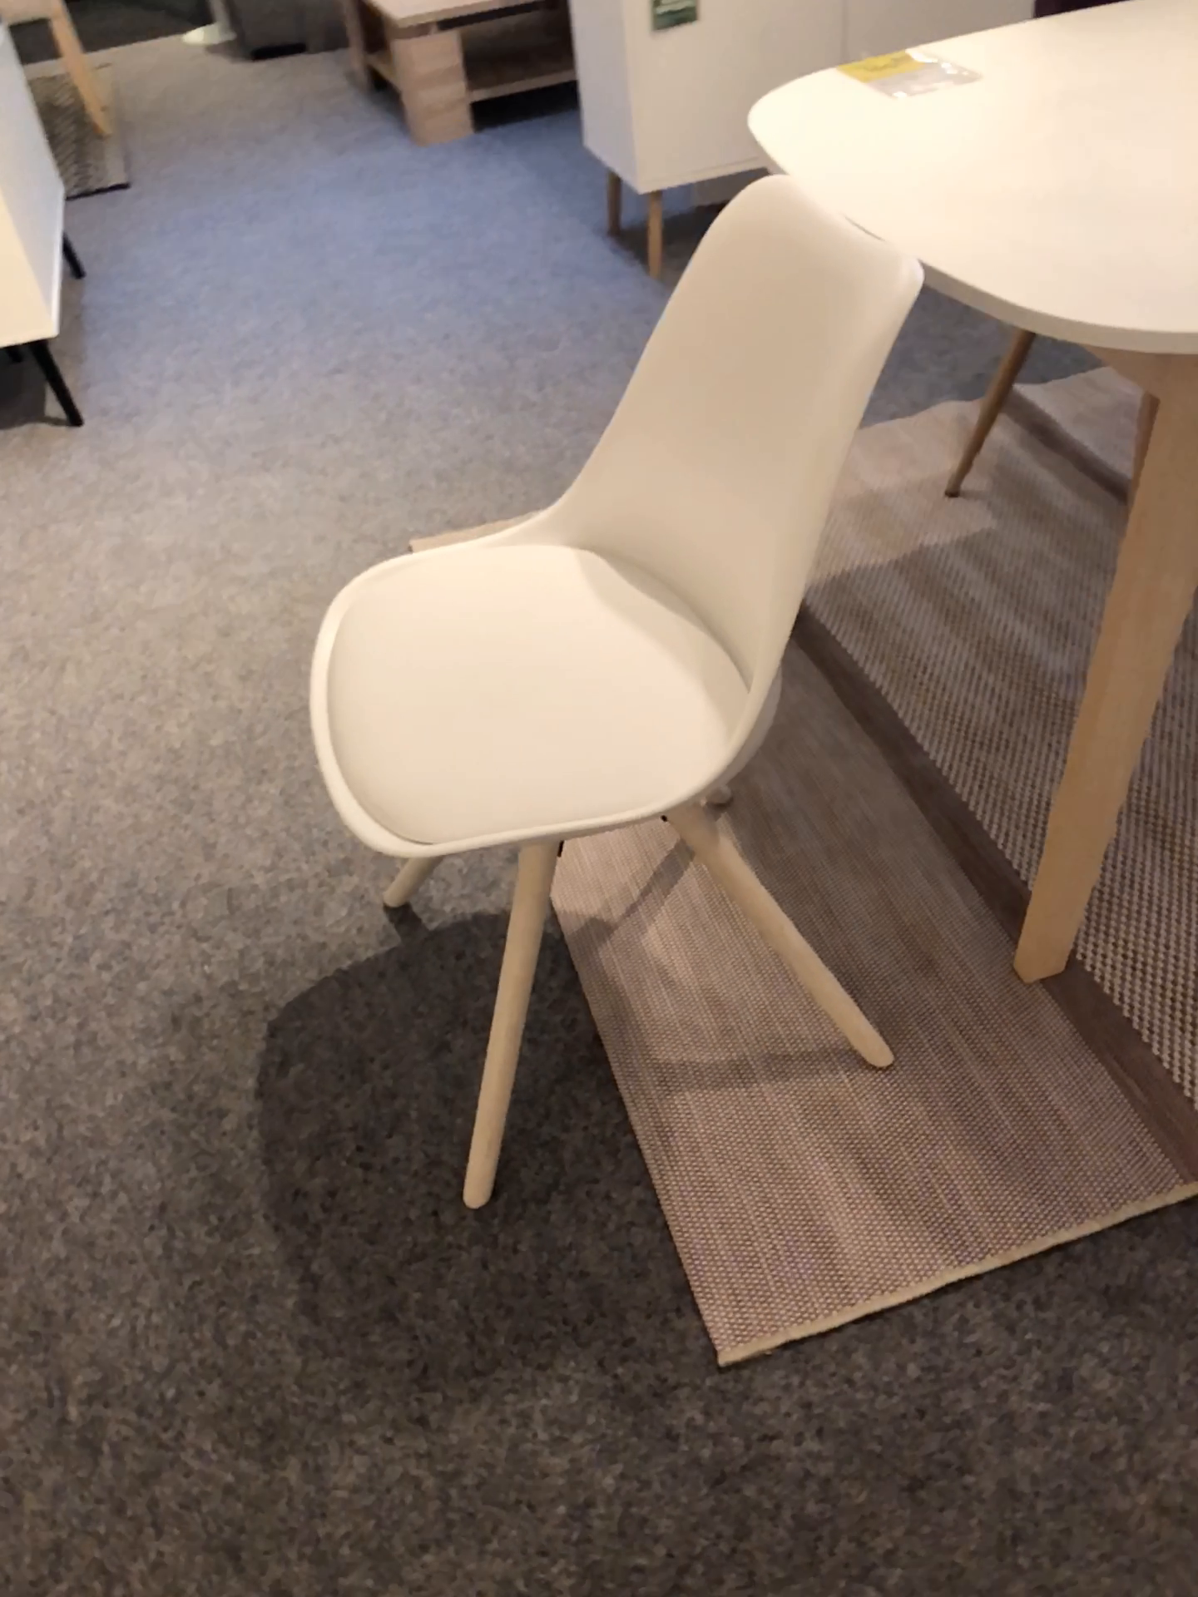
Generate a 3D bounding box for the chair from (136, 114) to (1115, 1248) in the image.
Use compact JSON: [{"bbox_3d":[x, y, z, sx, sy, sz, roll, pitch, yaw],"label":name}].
[{"bbox_3d":[0.002,-0.108,1.231,0.591,0.756,0.552,-16,43,-9],"label":"chair"}]
